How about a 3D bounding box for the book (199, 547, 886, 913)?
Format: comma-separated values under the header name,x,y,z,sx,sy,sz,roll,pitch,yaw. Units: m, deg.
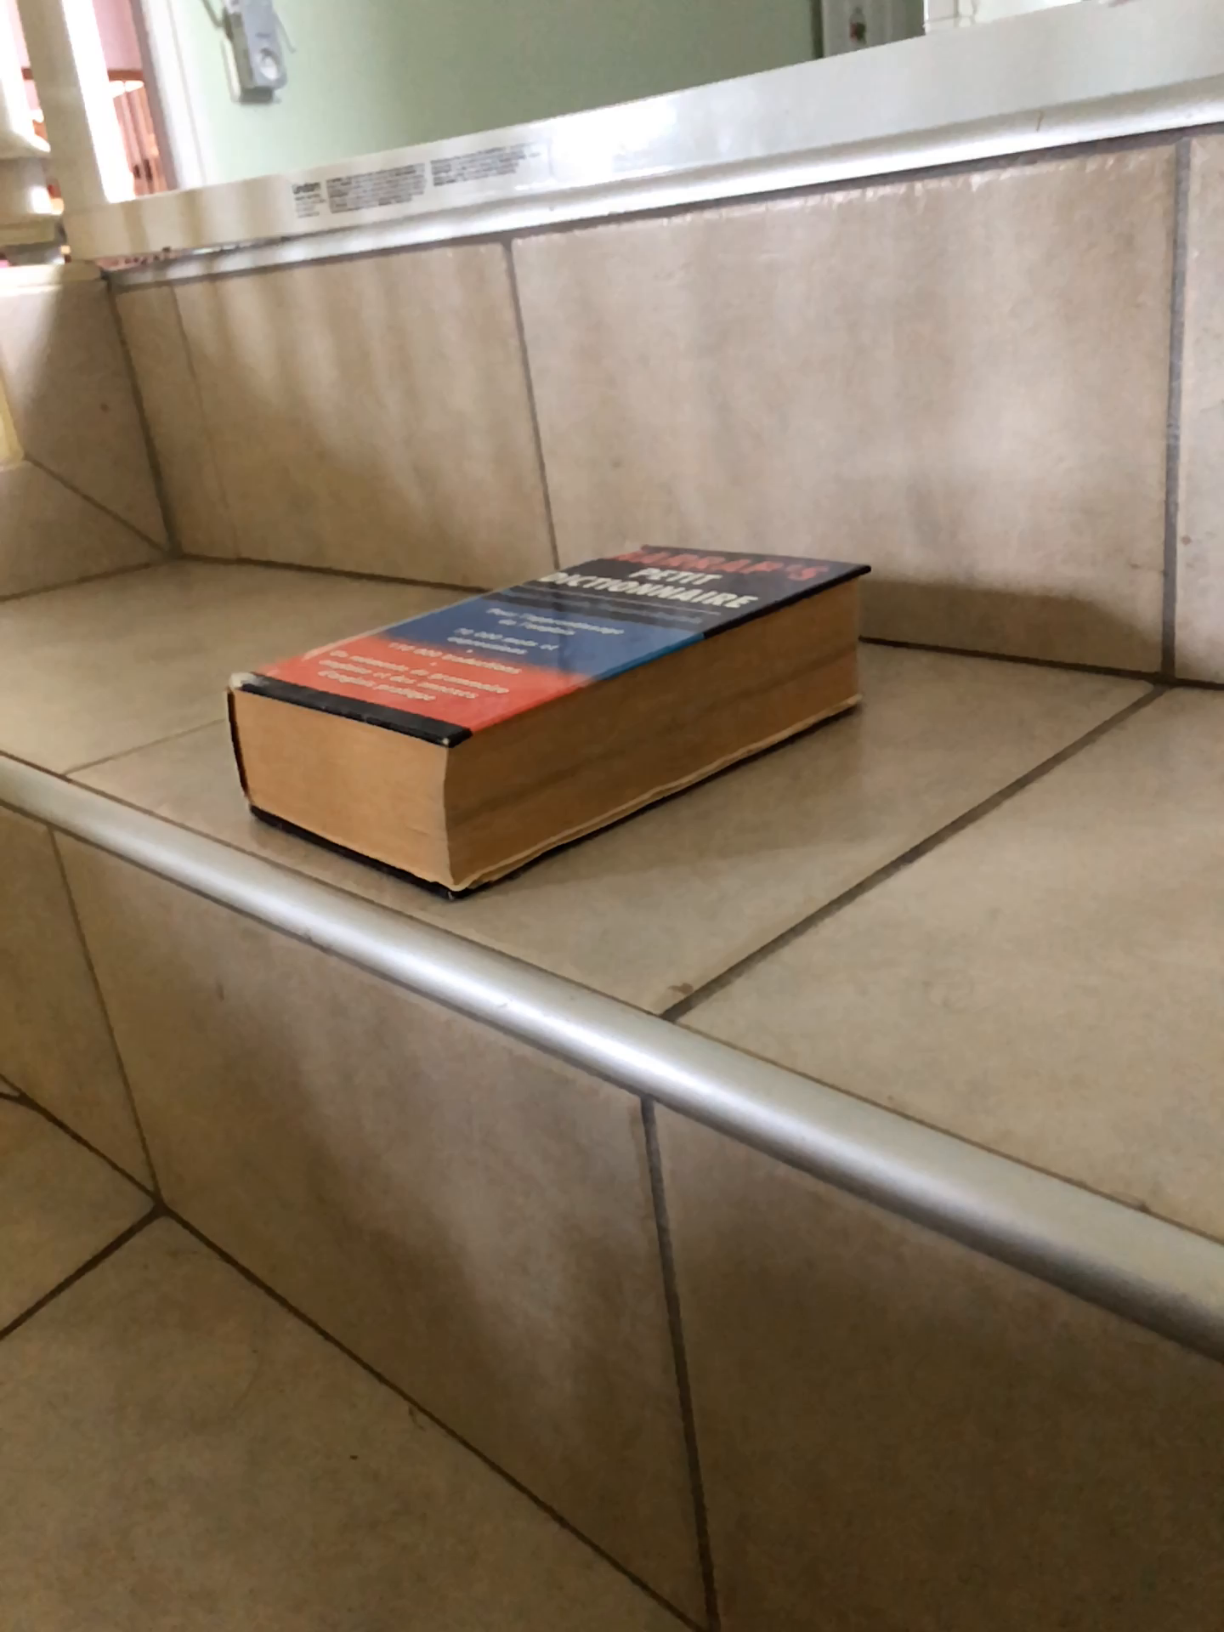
name,x,y,z,sx,sy,sz,roll,pitch,yaw
book,-0.016,-0.040,0.436,0.186,0.050,0.118,-24,27,-38
